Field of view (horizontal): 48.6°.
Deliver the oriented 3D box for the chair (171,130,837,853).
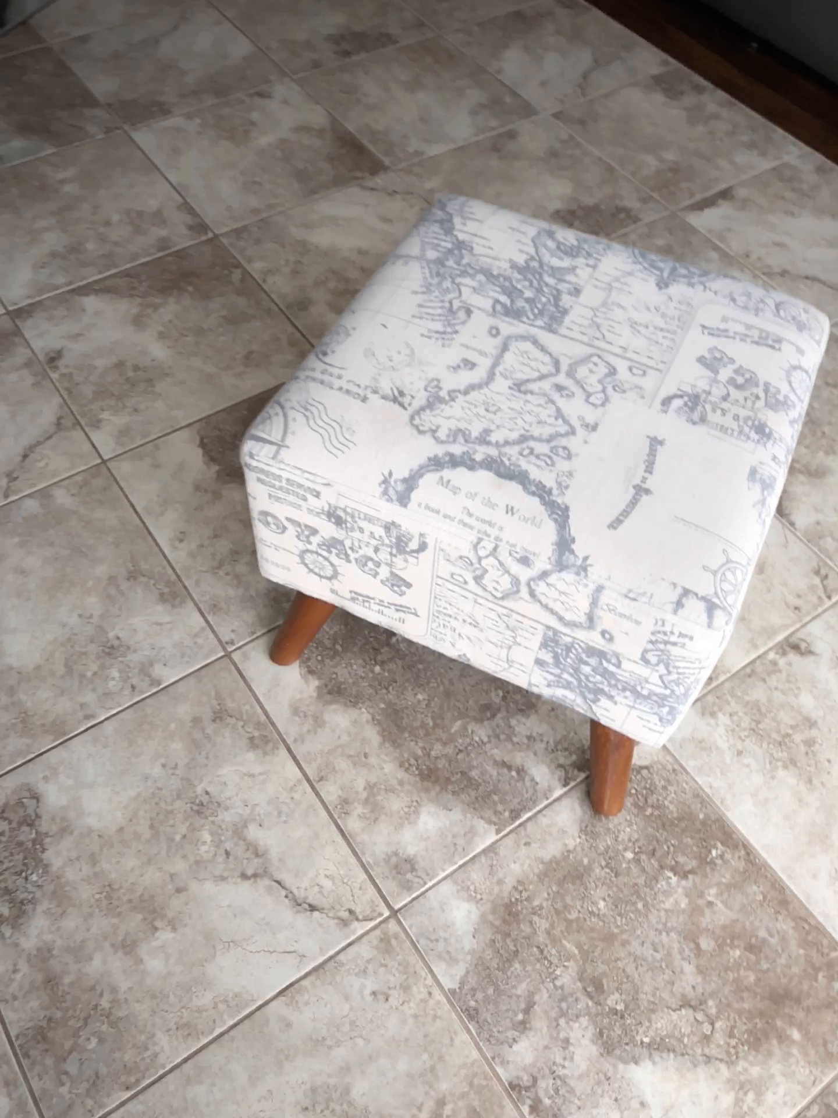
[{"bbox_3d":[0.107,-0.079,0.872,0.420,0.319,0.471,23,57,13],"label":"chair"}]
